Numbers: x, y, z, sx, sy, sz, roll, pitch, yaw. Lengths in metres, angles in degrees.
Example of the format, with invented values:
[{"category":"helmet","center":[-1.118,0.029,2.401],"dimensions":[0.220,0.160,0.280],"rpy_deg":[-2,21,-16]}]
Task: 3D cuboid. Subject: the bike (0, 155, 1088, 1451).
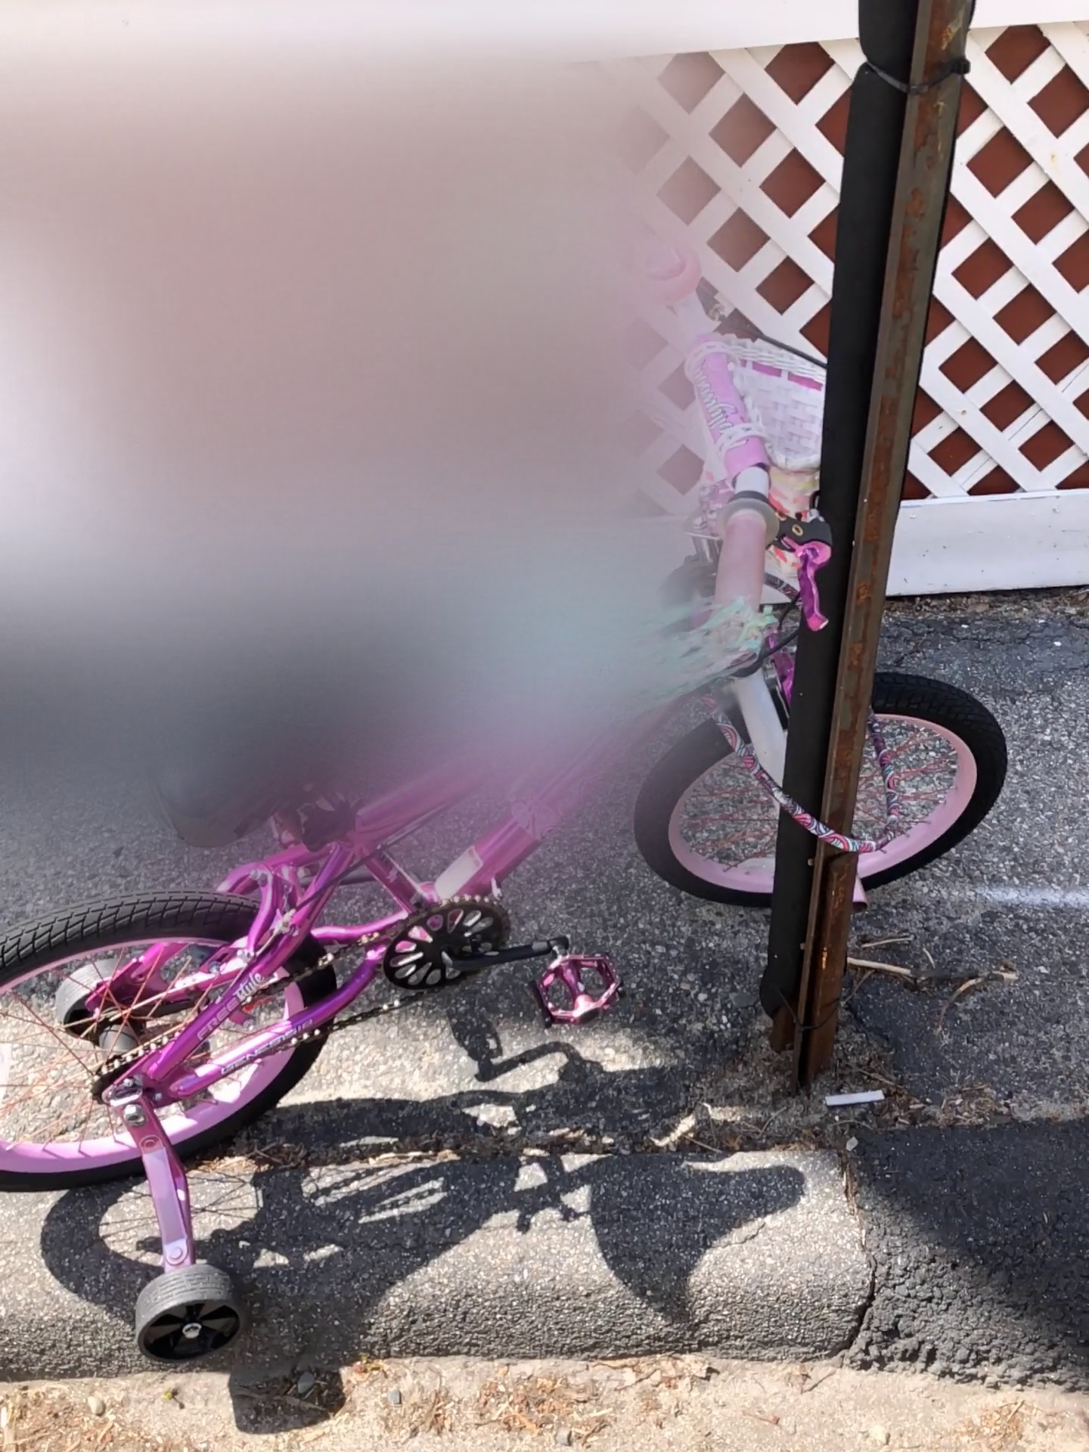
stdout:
[{"category":"bike","center":[-0.056,0.062,1.146],"dimensions":[1.226,0.869,0.617],"rpy_deg":[-15,39,-13]}]
